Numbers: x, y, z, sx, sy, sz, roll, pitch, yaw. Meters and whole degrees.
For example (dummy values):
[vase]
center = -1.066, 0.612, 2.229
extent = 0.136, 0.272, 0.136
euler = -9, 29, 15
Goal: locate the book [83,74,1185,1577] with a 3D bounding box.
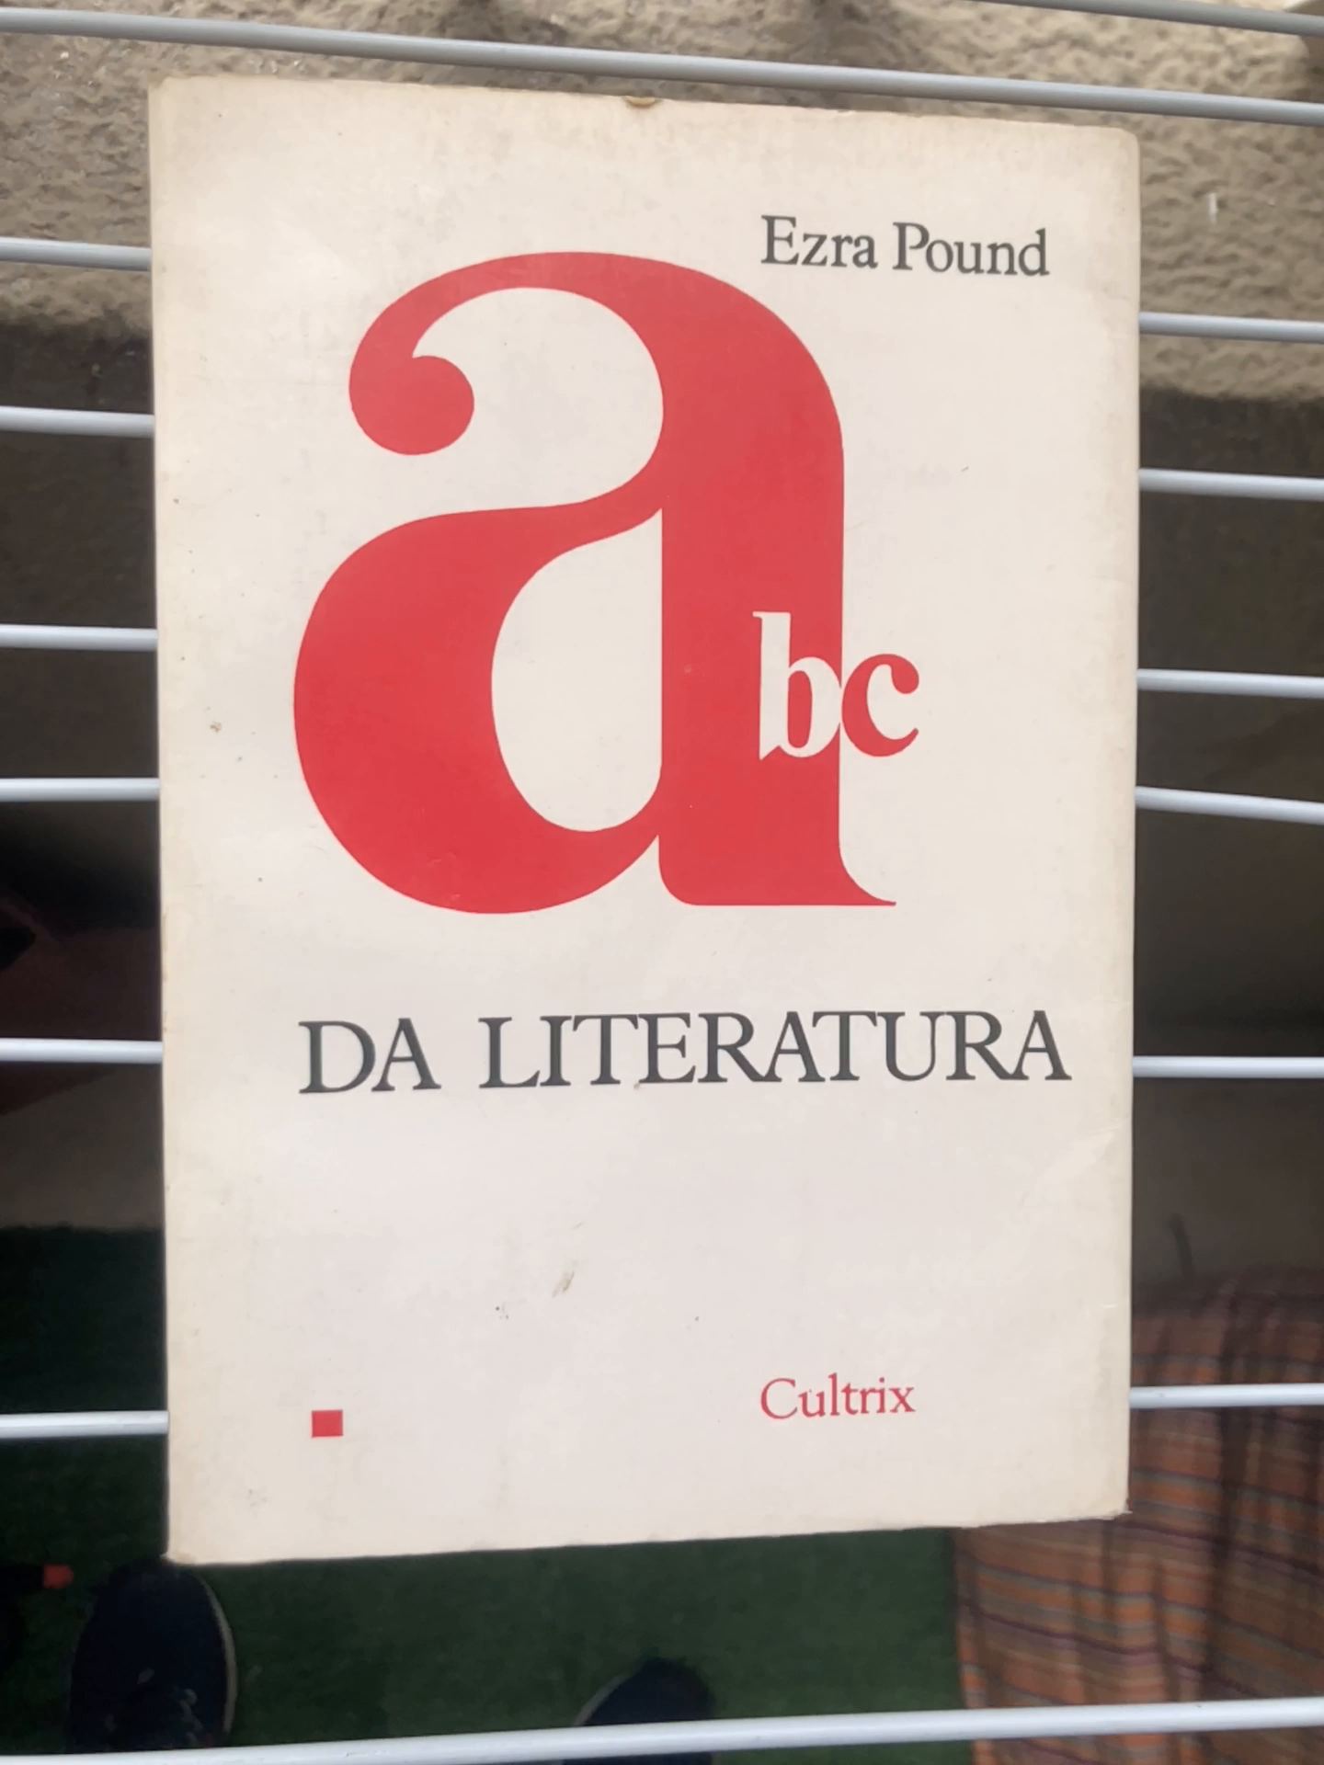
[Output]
[book]
center = -0.002, -0.005, 0.201
extent = 0.140, 0.017, 0.187
euler = 0, 93, -7
